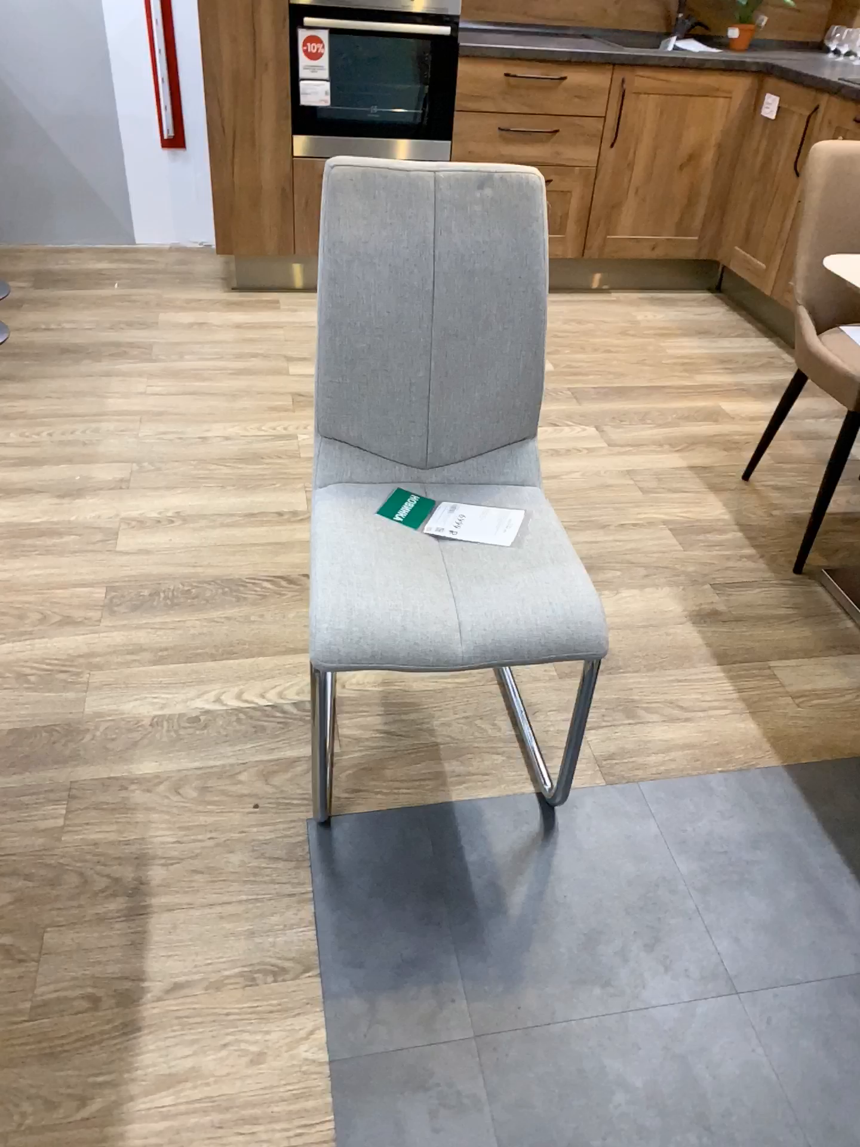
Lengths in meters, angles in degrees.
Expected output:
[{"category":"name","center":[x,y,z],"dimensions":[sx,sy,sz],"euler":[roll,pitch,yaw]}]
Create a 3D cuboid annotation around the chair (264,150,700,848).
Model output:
[{"category":"chair","center":[-0.008,-0.107,1.479],"dimensions":[0.490,0.984,0.573],"euler":[-2,36,-9]}]
